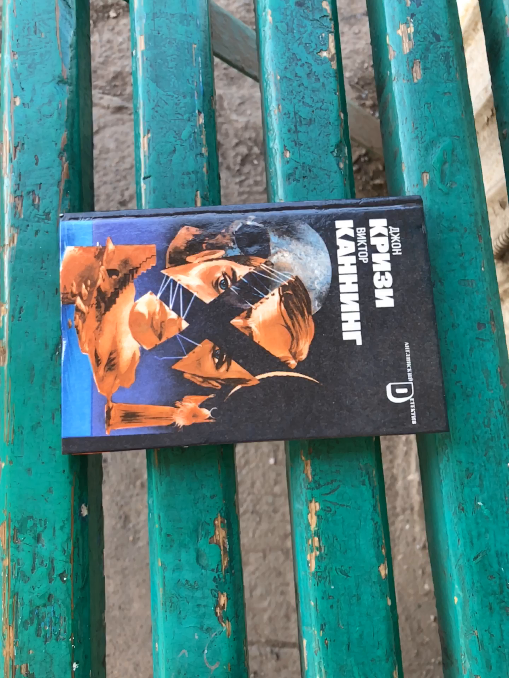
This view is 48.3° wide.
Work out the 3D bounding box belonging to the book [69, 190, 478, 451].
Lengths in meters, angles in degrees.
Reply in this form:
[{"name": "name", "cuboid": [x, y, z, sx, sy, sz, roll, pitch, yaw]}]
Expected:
[{"name": "book", "cuboid": [0.008, -0.011, 0.314, 0.211, 0.020, 0.134, -2, 81, -1]}]
